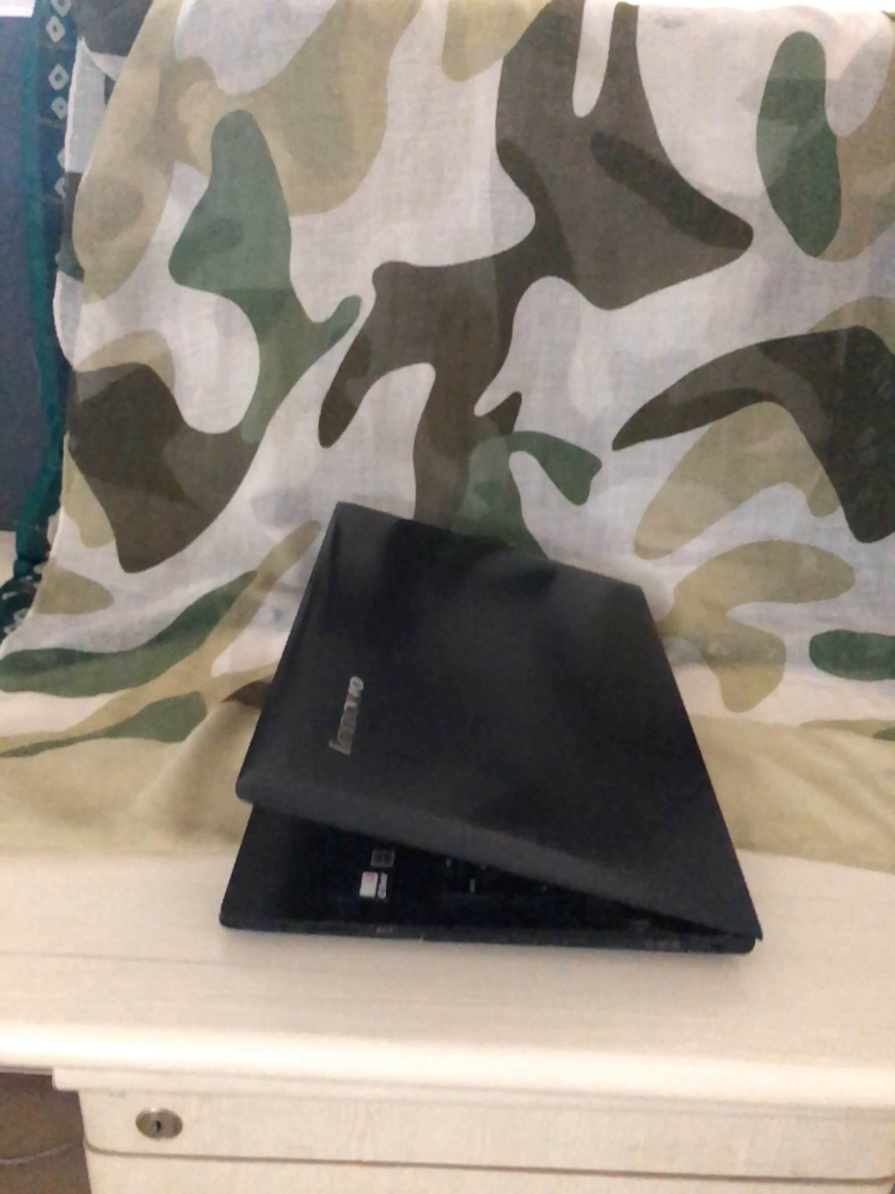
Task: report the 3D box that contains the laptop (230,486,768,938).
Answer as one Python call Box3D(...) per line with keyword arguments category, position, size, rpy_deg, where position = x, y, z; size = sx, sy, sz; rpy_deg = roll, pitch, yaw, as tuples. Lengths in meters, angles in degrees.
Box3D(category="laptop", position=(0.031, 0.038, 0.638), size=(0.249, 0.059, 0.387), rpy_deg=(7, 26, -1))
